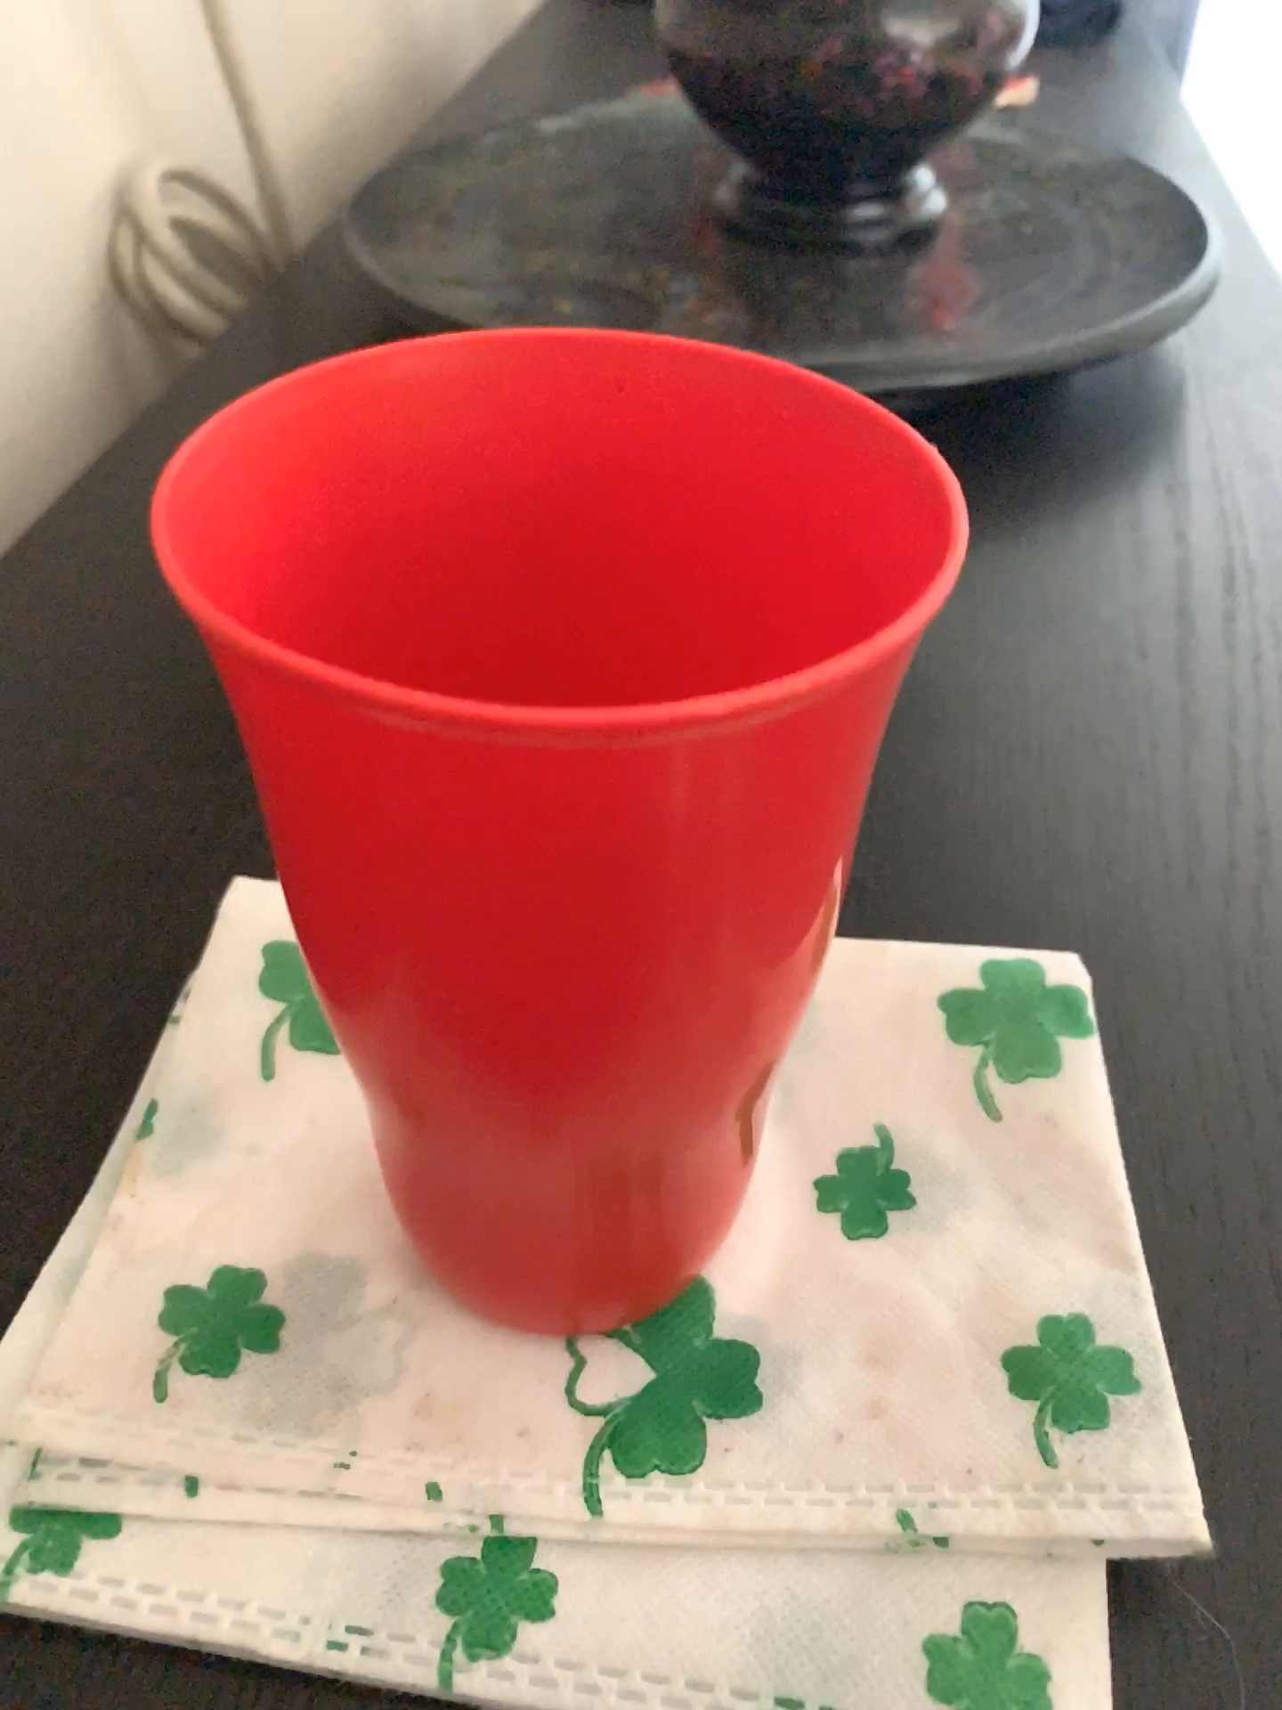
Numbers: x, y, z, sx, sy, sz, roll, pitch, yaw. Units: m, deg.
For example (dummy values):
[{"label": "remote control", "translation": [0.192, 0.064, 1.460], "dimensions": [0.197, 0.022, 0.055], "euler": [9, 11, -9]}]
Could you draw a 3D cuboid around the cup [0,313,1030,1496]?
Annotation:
[{"label": "cup", "translation": [-0.011, 0.001, 0.157], "dimensions": [0.082, 0.091, 0.080], "euler": [0, 40, 0]}]
